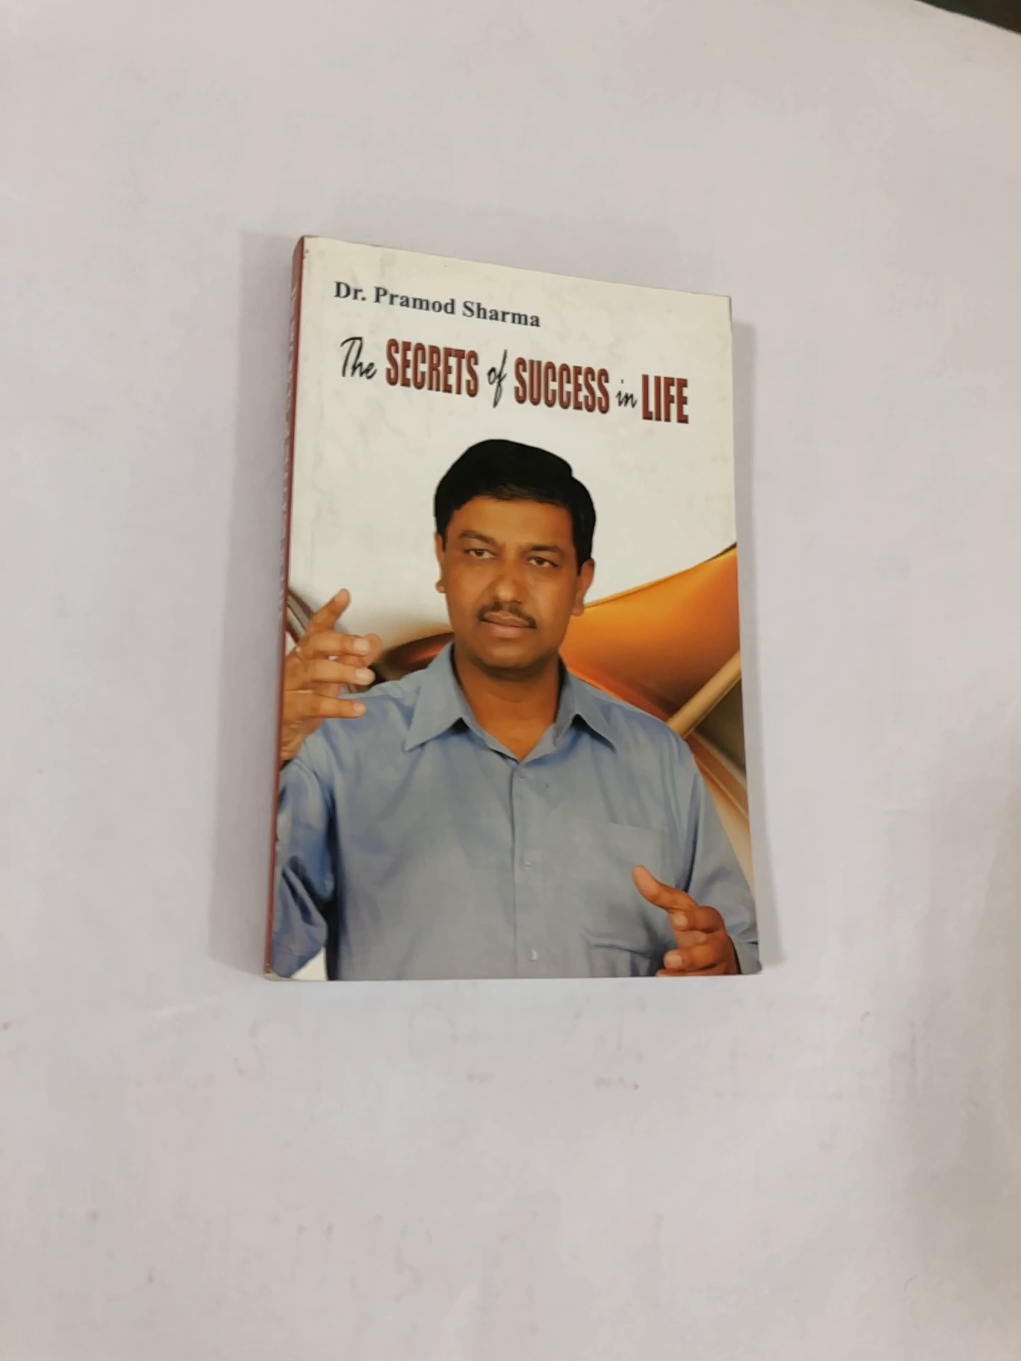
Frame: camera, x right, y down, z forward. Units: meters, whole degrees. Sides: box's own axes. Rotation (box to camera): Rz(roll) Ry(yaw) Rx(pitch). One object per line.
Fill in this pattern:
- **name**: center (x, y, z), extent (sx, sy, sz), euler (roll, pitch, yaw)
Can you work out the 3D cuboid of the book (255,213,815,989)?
- **book**: center (0.008, -0.023, 0.326), extent (0.150, 0.020, 0.210), euler (3, 77, -16)
